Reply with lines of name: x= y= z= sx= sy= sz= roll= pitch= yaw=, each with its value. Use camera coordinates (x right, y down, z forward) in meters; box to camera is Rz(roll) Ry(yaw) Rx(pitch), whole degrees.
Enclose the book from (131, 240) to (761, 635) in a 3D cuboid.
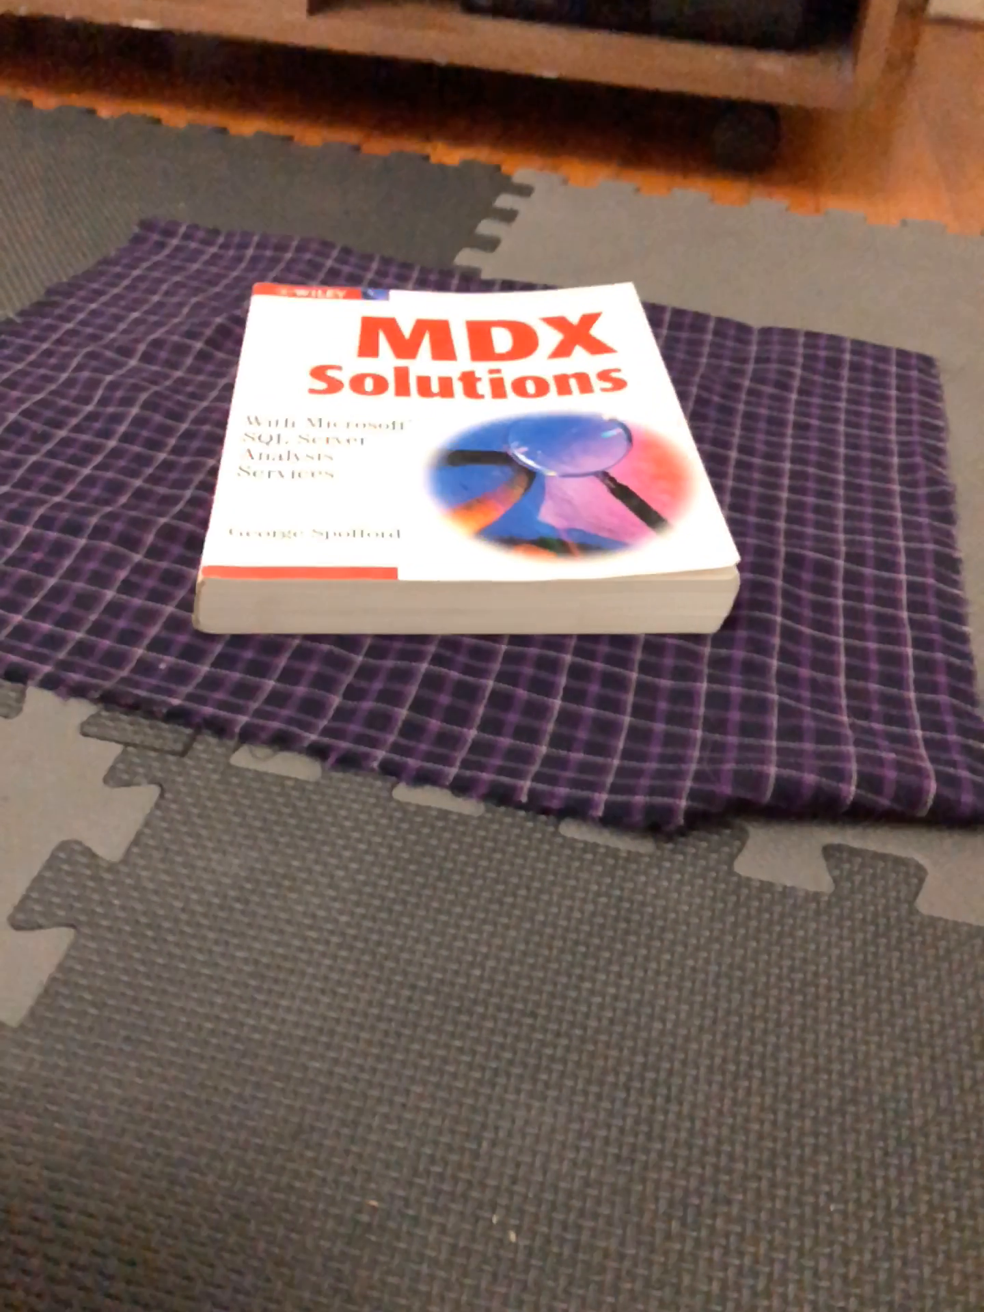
book: x=-0.025 y=-0.113 z=0.495 sx=0.220 sy=0.050 sz=0.262 roll=-1 pitch=41 yaw=-6
